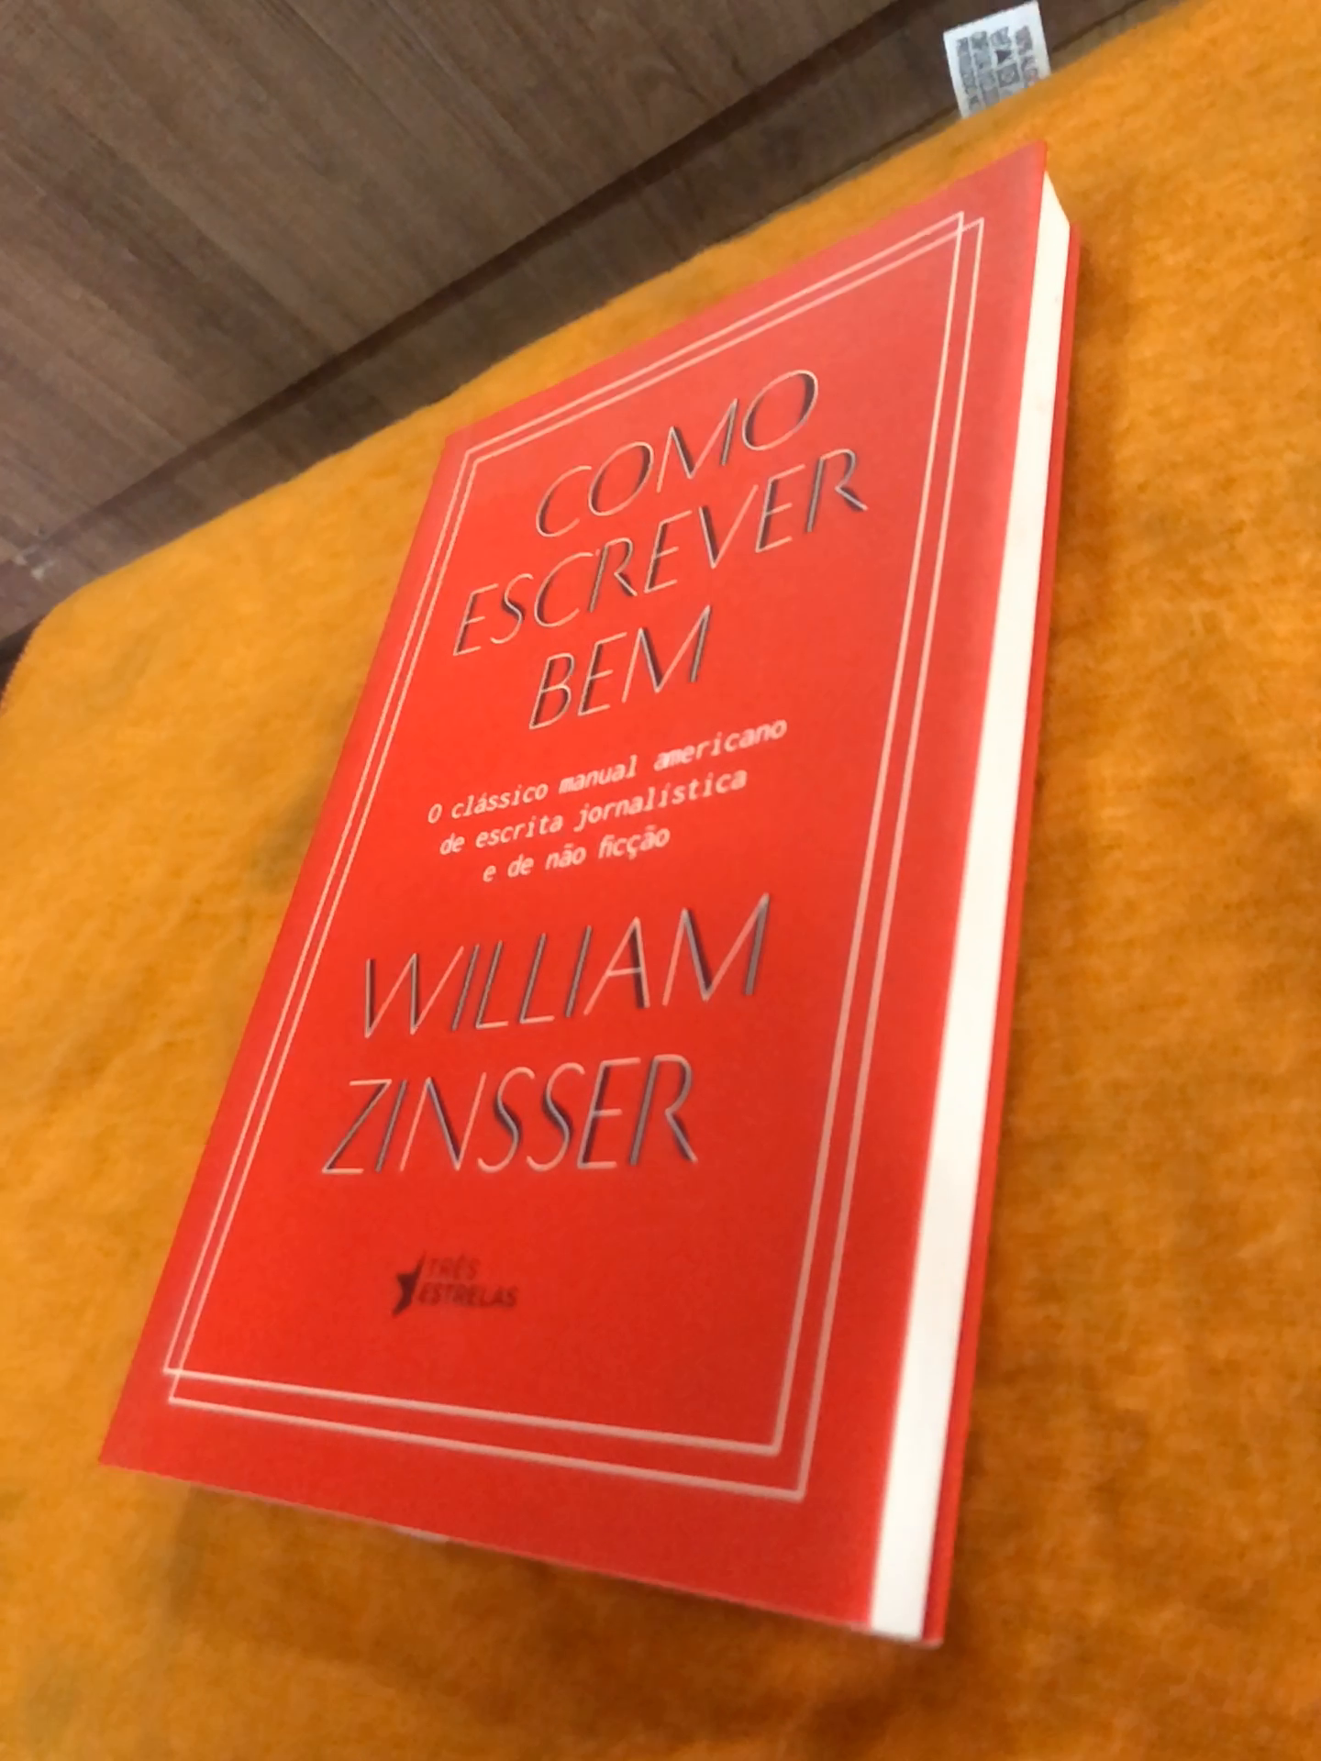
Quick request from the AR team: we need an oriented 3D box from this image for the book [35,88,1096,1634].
[{"bbox_3d":[-0.013,-0.011,0.217,0.141,0.020,0.196,-11,56,40],"label":"book"}]
